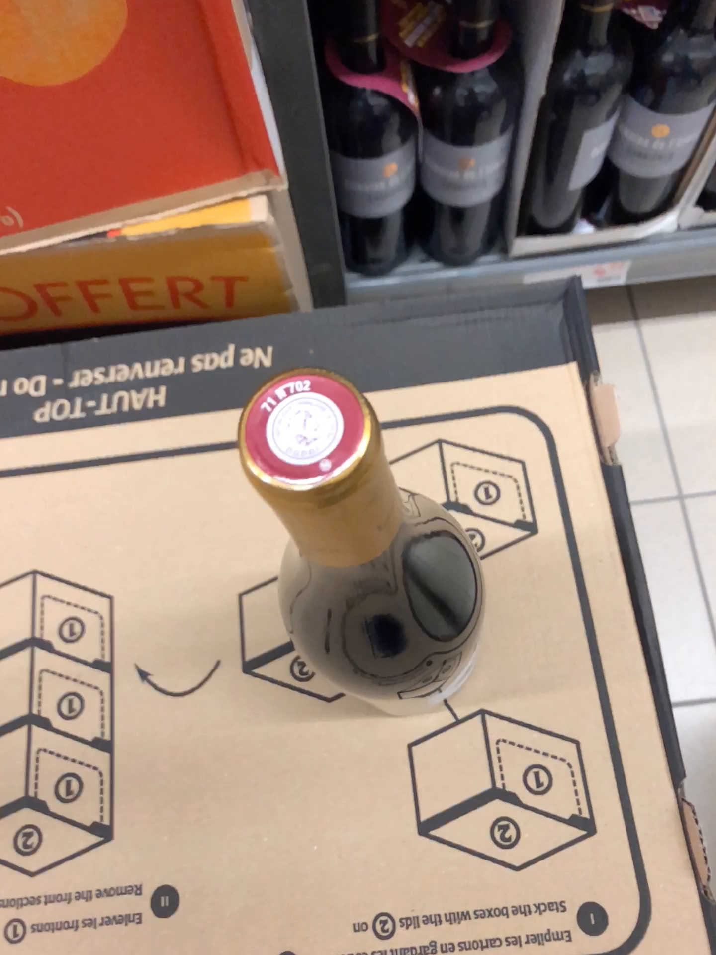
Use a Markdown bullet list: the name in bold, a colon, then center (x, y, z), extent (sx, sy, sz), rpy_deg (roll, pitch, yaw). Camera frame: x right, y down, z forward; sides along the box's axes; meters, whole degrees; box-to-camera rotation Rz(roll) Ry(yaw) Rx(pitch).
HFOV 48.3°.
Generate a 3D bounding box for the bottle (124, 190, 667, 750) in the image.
- **bottle**: center (0.012, 0.040, 0.283), extent (0.080, 0.300, 0.090), rpy_deg (-11, 72, 0)
